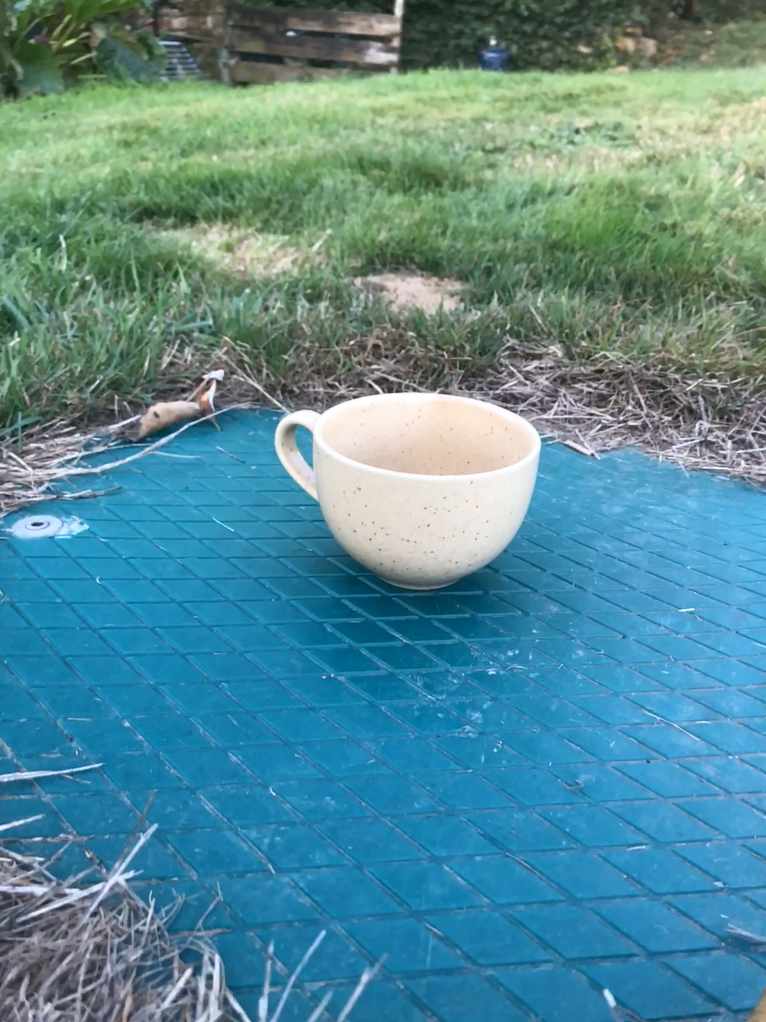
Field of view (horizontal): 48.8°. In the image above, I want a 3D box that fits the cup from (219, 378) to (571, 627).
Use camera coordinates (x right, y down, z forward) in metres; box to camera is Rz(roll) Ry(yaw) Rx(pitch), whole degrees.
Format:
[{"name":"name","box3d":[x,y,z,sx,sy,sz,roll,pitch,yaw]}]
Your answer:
[{"name":"cup","box3d":[0.011,-0.014,0.450,0.142,0.065,0.124,12,28,23]}]
